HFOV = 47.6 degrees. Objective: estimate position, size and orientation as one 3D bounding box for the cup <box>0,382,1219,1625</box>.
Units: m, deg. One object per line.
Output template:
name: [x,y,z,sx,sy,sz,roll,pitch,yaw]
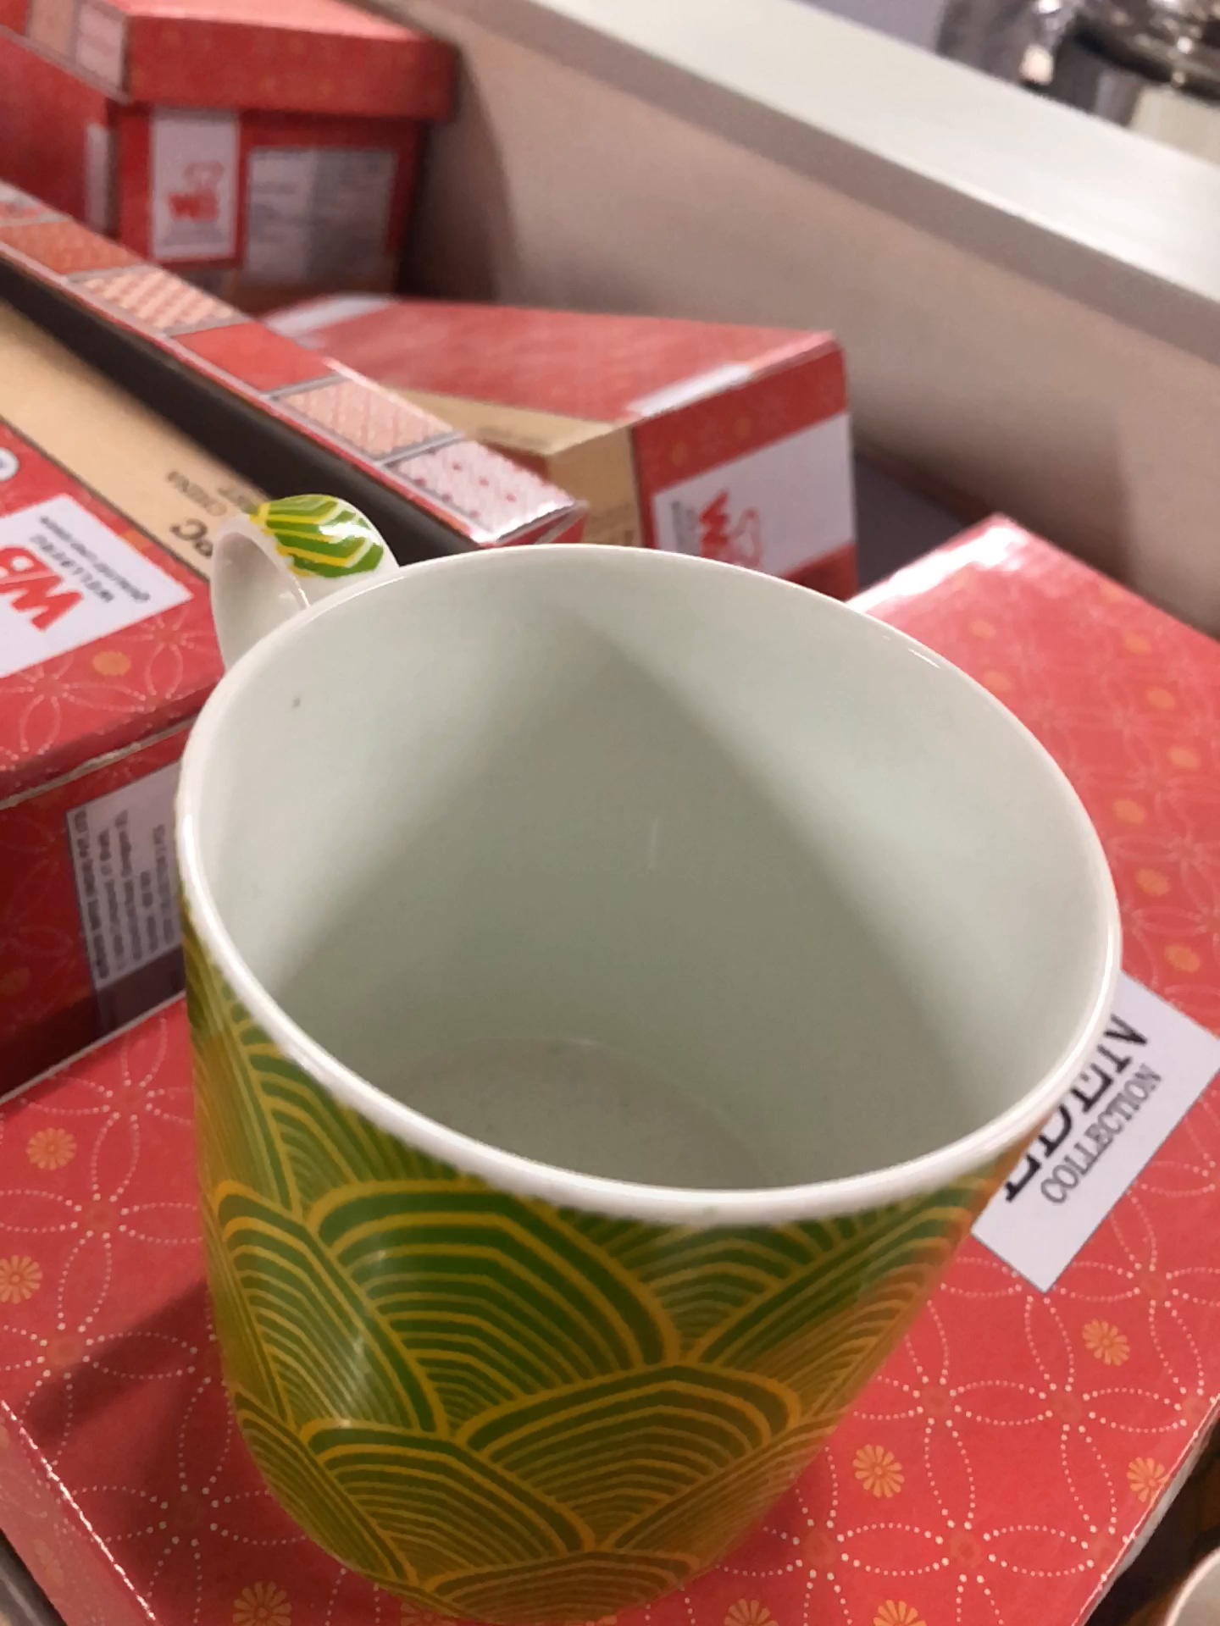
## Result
cup: [-0.011,0.026,0.138,0.070,0.089,0.090,-30,57,-36]
